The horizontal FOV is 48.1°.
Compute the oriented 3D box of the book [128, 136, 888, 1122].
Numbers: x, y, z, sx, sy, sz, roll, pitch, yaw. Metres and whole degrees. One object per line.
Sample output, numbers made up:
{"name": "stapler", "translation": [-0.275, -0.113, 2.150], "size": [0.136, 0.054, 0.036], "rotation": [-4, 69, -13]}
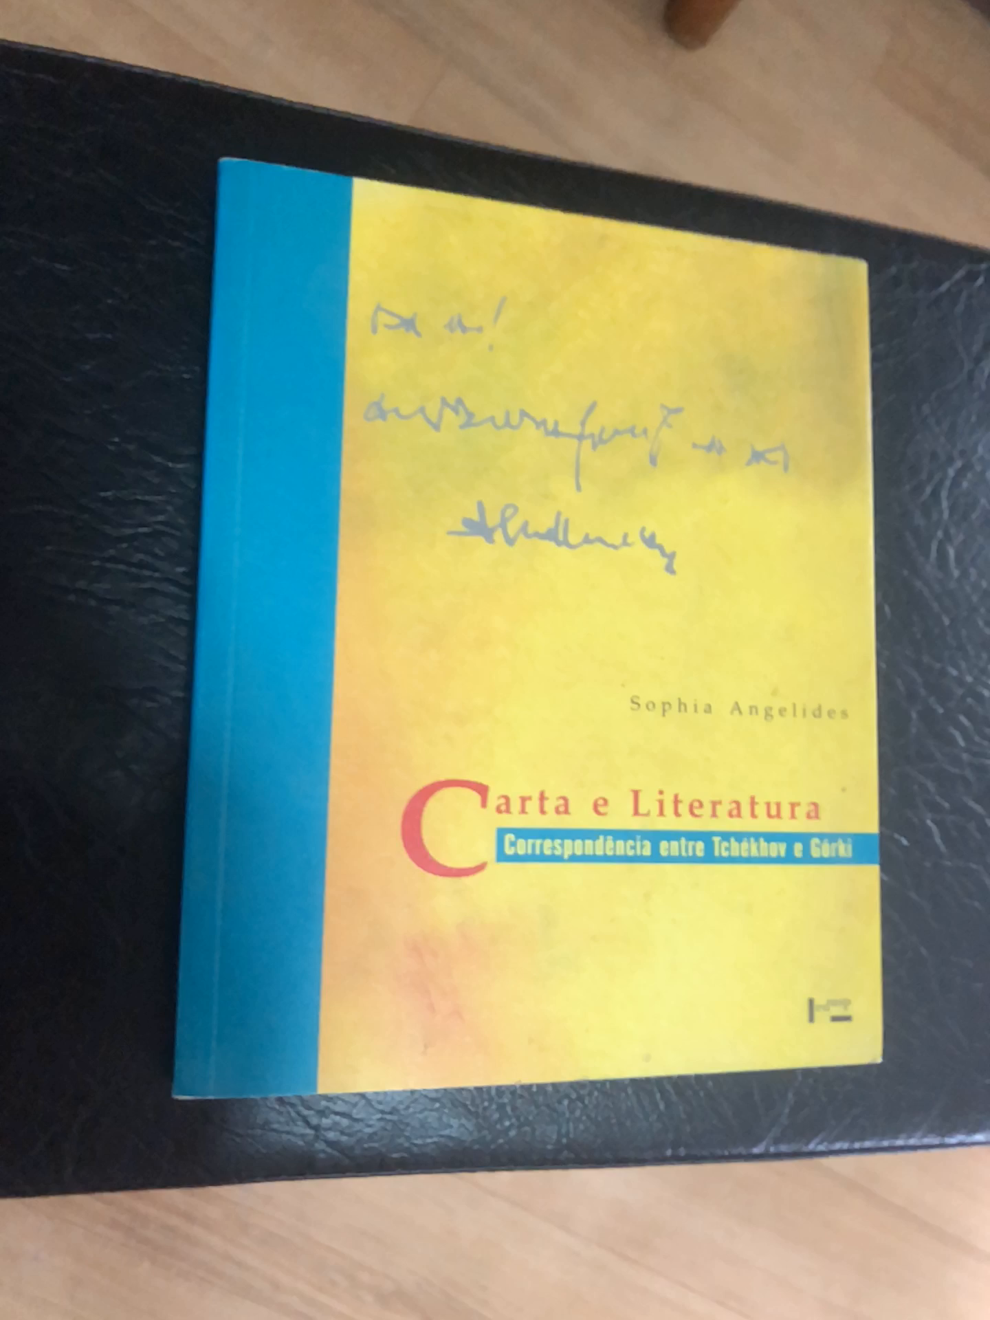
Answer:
{"name": "book", "translation": [0.010, -0.006, 0.264], "size": [0.173, 0.024, 0.208], "rotation": [3, 84, -14]}
